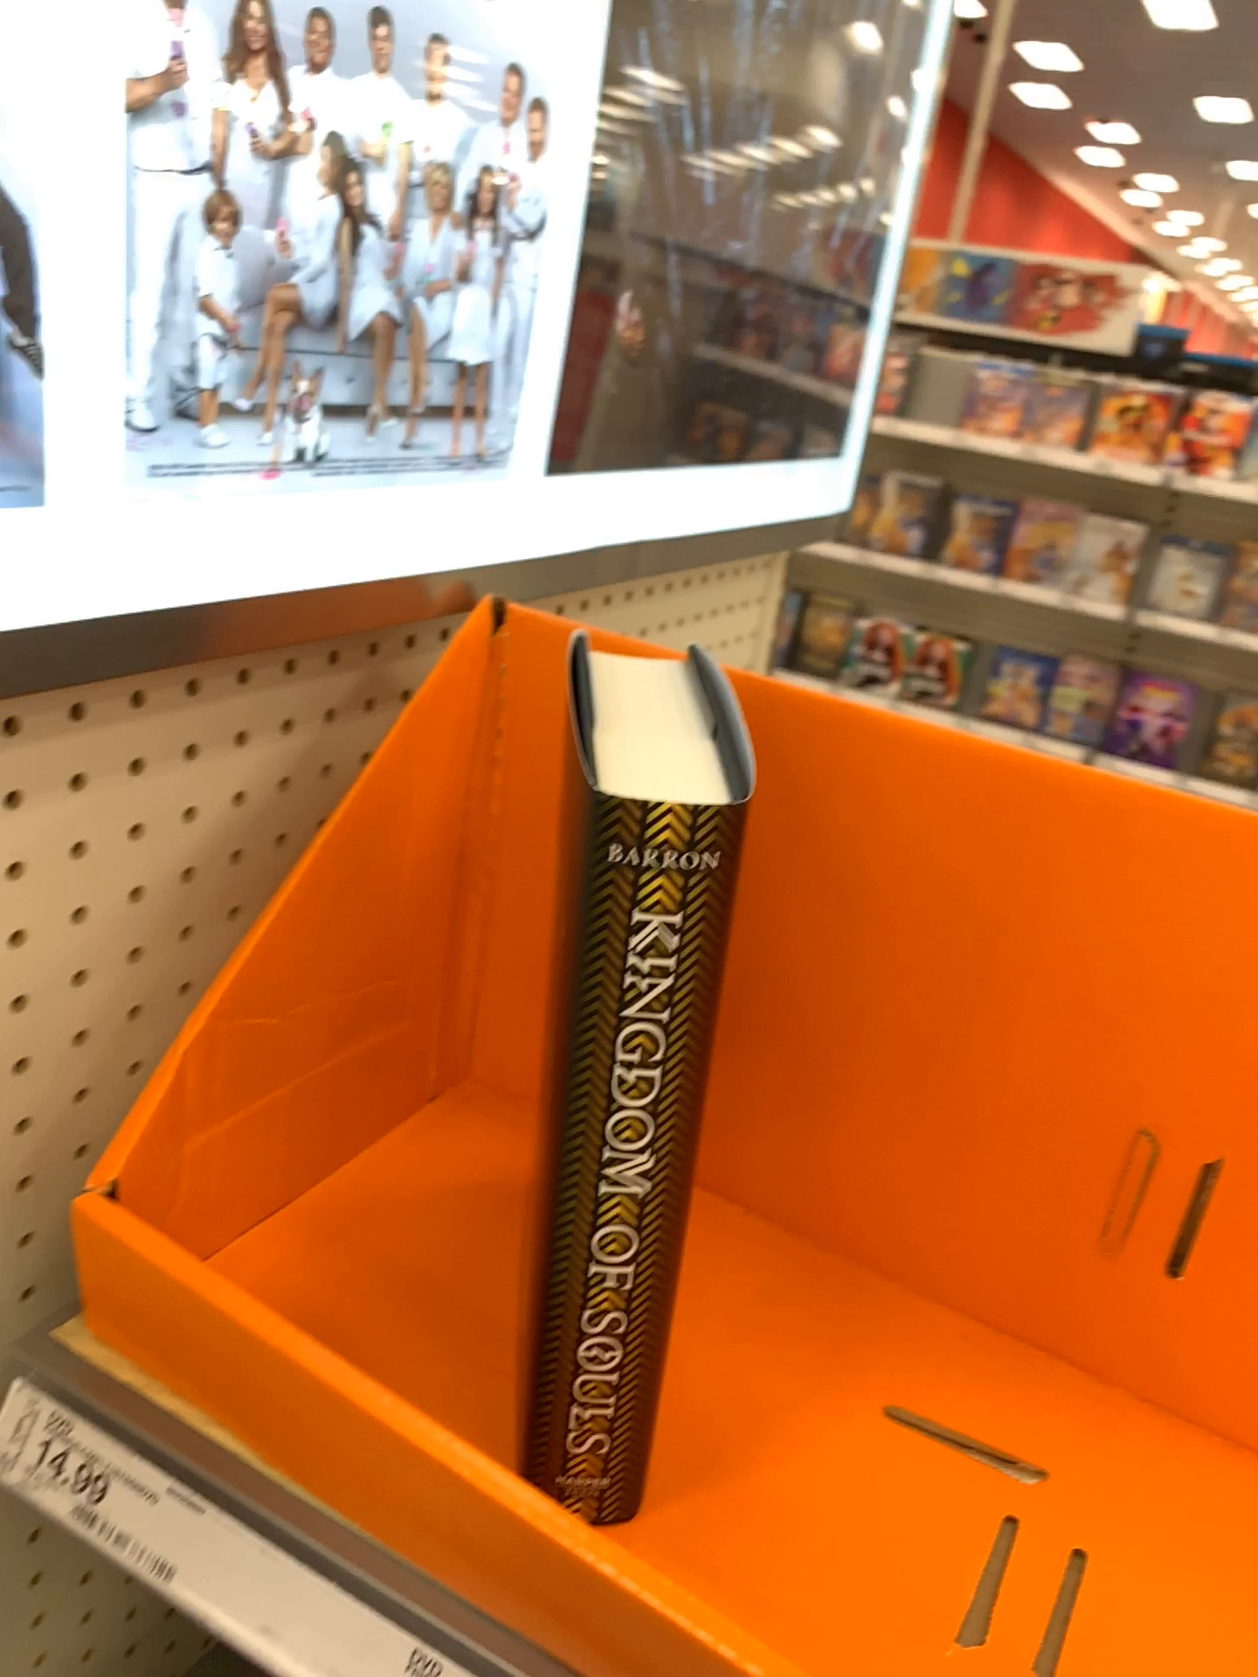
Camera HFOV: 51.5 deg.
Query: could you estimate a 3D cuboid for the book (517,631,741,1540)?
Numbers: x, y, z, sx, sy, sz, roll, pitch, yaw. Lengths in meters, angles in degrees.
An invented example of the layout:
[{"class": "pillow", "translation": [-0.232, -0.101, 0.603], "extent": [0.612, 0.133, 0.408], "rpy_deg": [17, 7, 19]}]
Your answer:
[{"class": "book", "translation": [-0.007, 0.071, 0.426], "extent": [0.040, 0.240, 0.161], "rpy_deg": [4, 22, -4]}]
